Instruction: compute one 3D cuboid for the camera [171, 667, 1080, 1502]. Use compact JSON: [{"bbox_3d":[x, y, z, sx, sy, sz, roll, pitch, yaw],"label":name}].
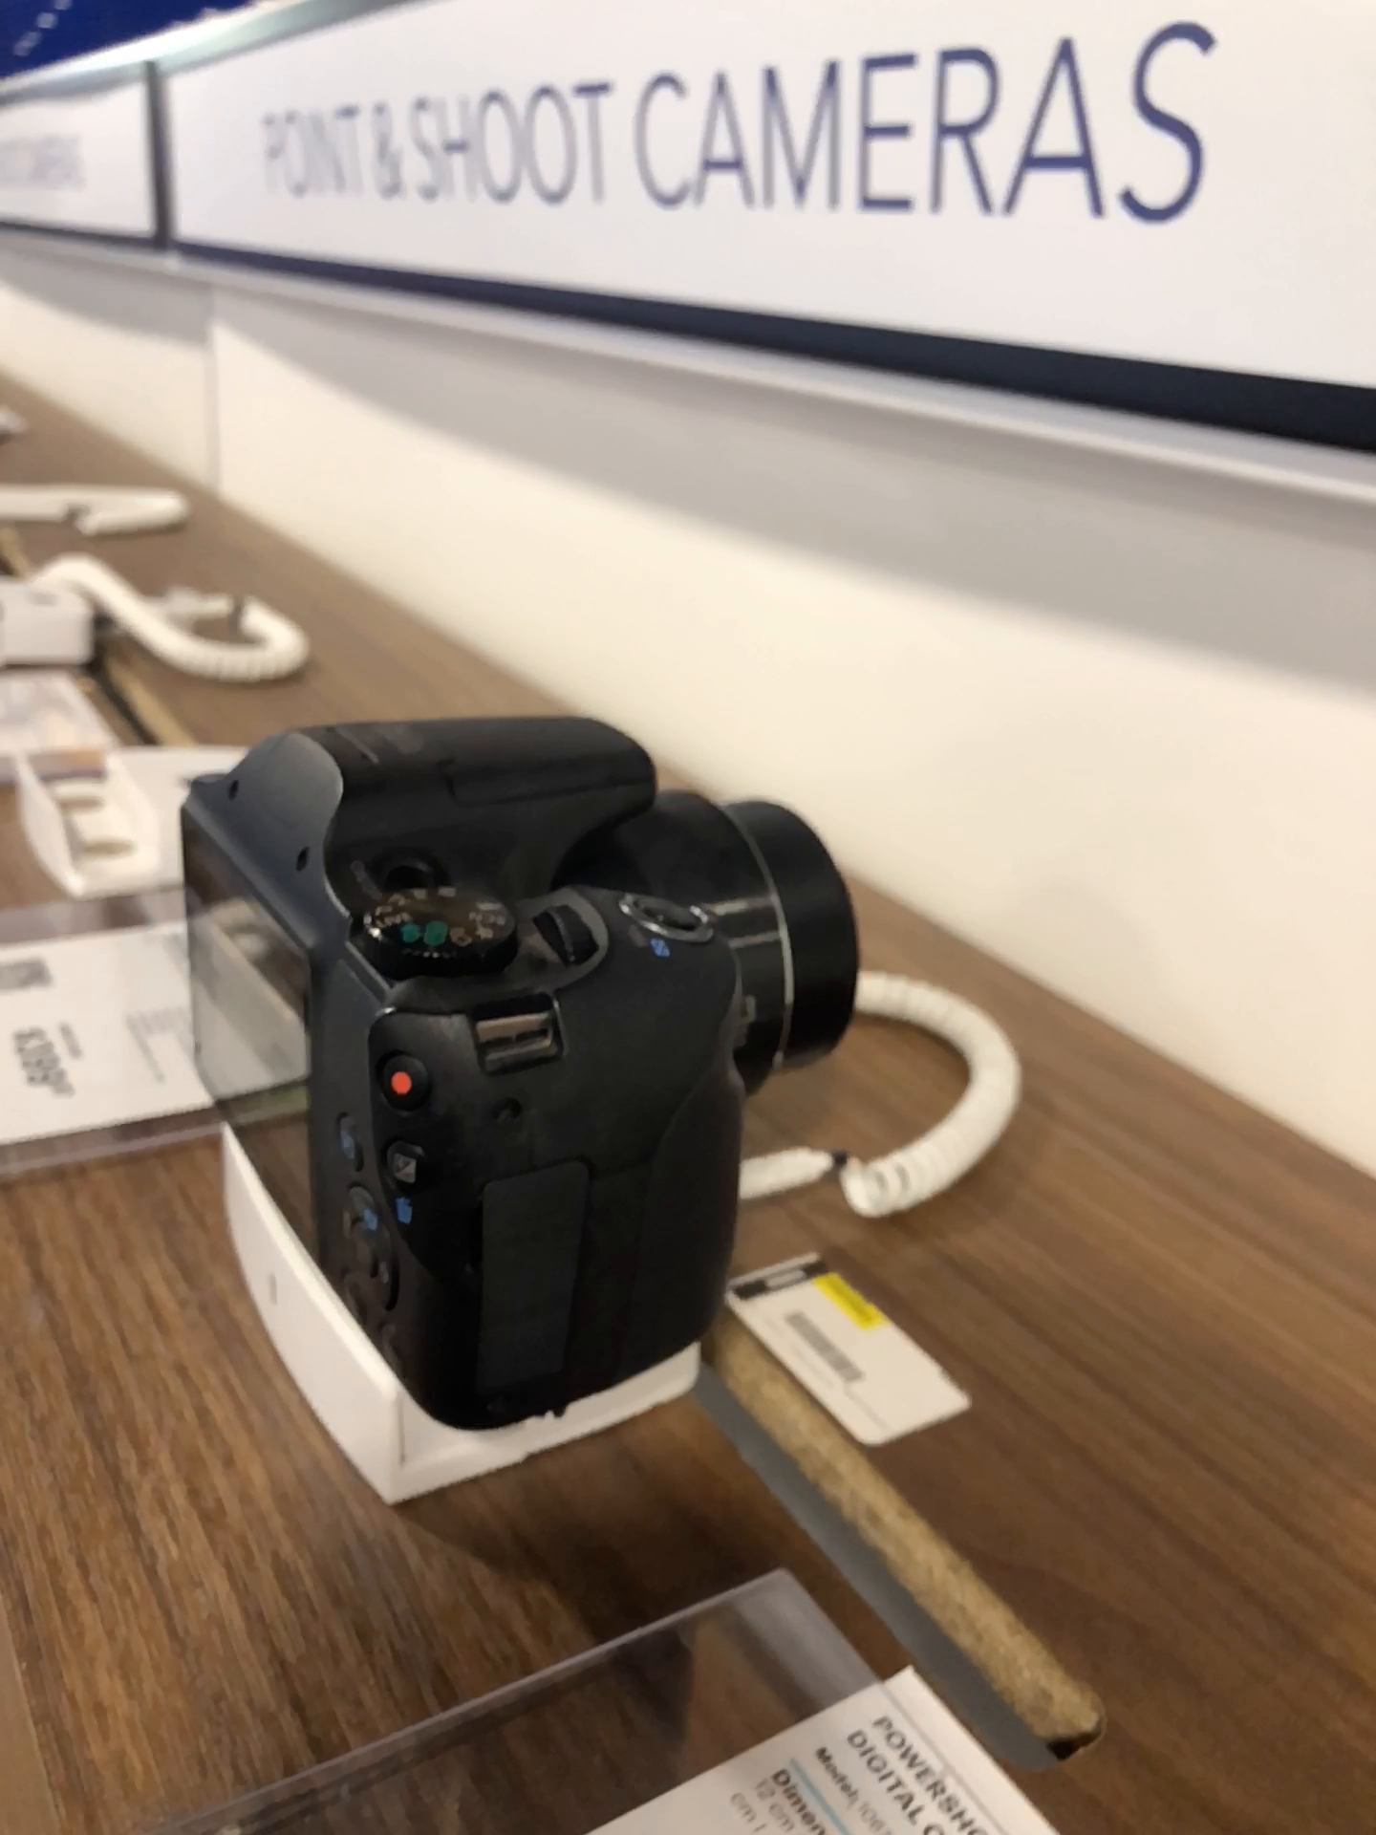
[{"bbox_3d":[-0.019,0.013,0.269,0.101,0.080,0.121,-10,27,-33],"label":"camera"}]
